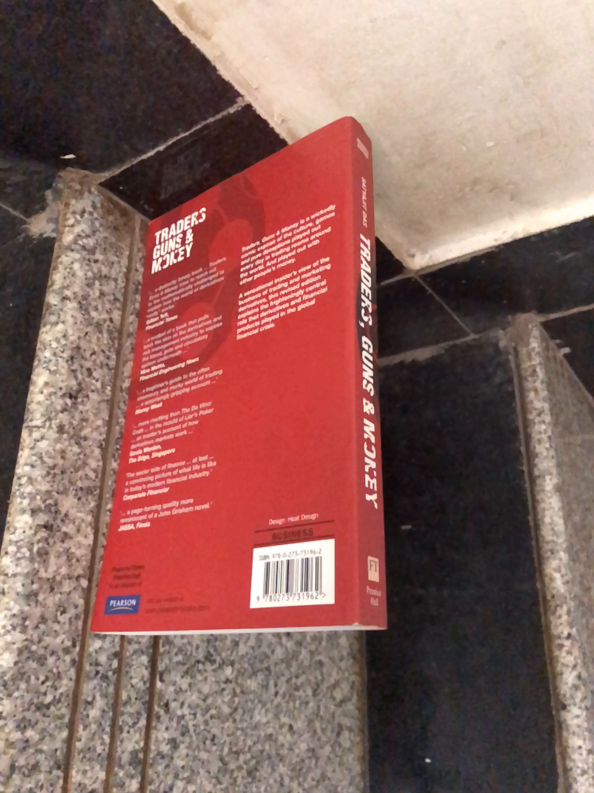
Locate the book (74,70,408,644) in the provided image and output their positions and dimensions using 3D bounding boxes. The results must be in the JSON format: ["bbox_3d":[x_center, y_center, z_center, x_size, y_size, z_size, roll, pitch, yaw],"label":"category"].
[{"bbox_3d":[-0.027,-0.013,0.298,0.030,0.149,0.230,26,57,-44],"label":"book"}]
